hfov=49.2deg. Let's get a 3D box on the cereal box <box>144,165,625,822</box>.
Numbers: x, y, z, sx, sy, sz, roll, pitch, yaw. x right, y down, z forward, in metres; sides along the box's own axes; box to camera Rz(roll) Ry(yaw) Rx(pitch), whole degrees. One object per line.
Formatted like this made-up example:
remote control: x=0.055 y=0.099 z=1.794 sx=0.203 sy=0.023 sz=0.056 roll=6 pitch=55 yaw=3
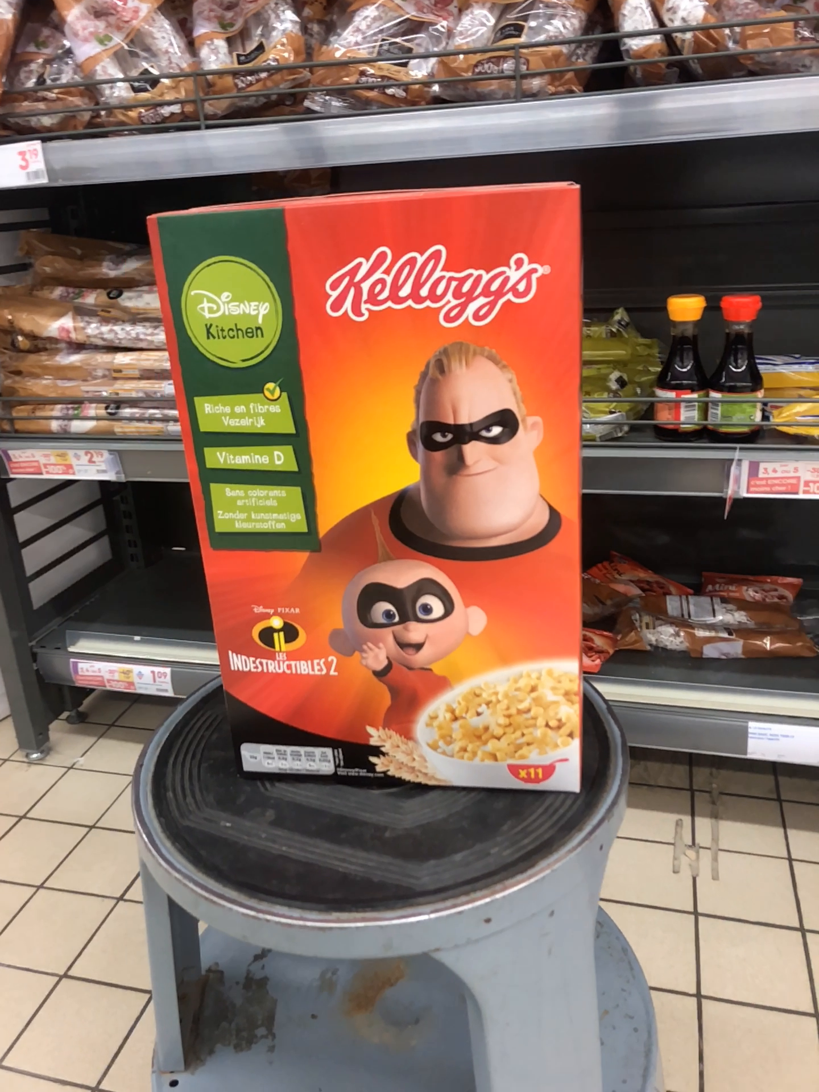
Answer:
cereal box: x=0.001 y=-0.020 z=0.455 sx=0.200 sy=0.308 sz=0.080 roll=1 pitch=22 yaw=11
